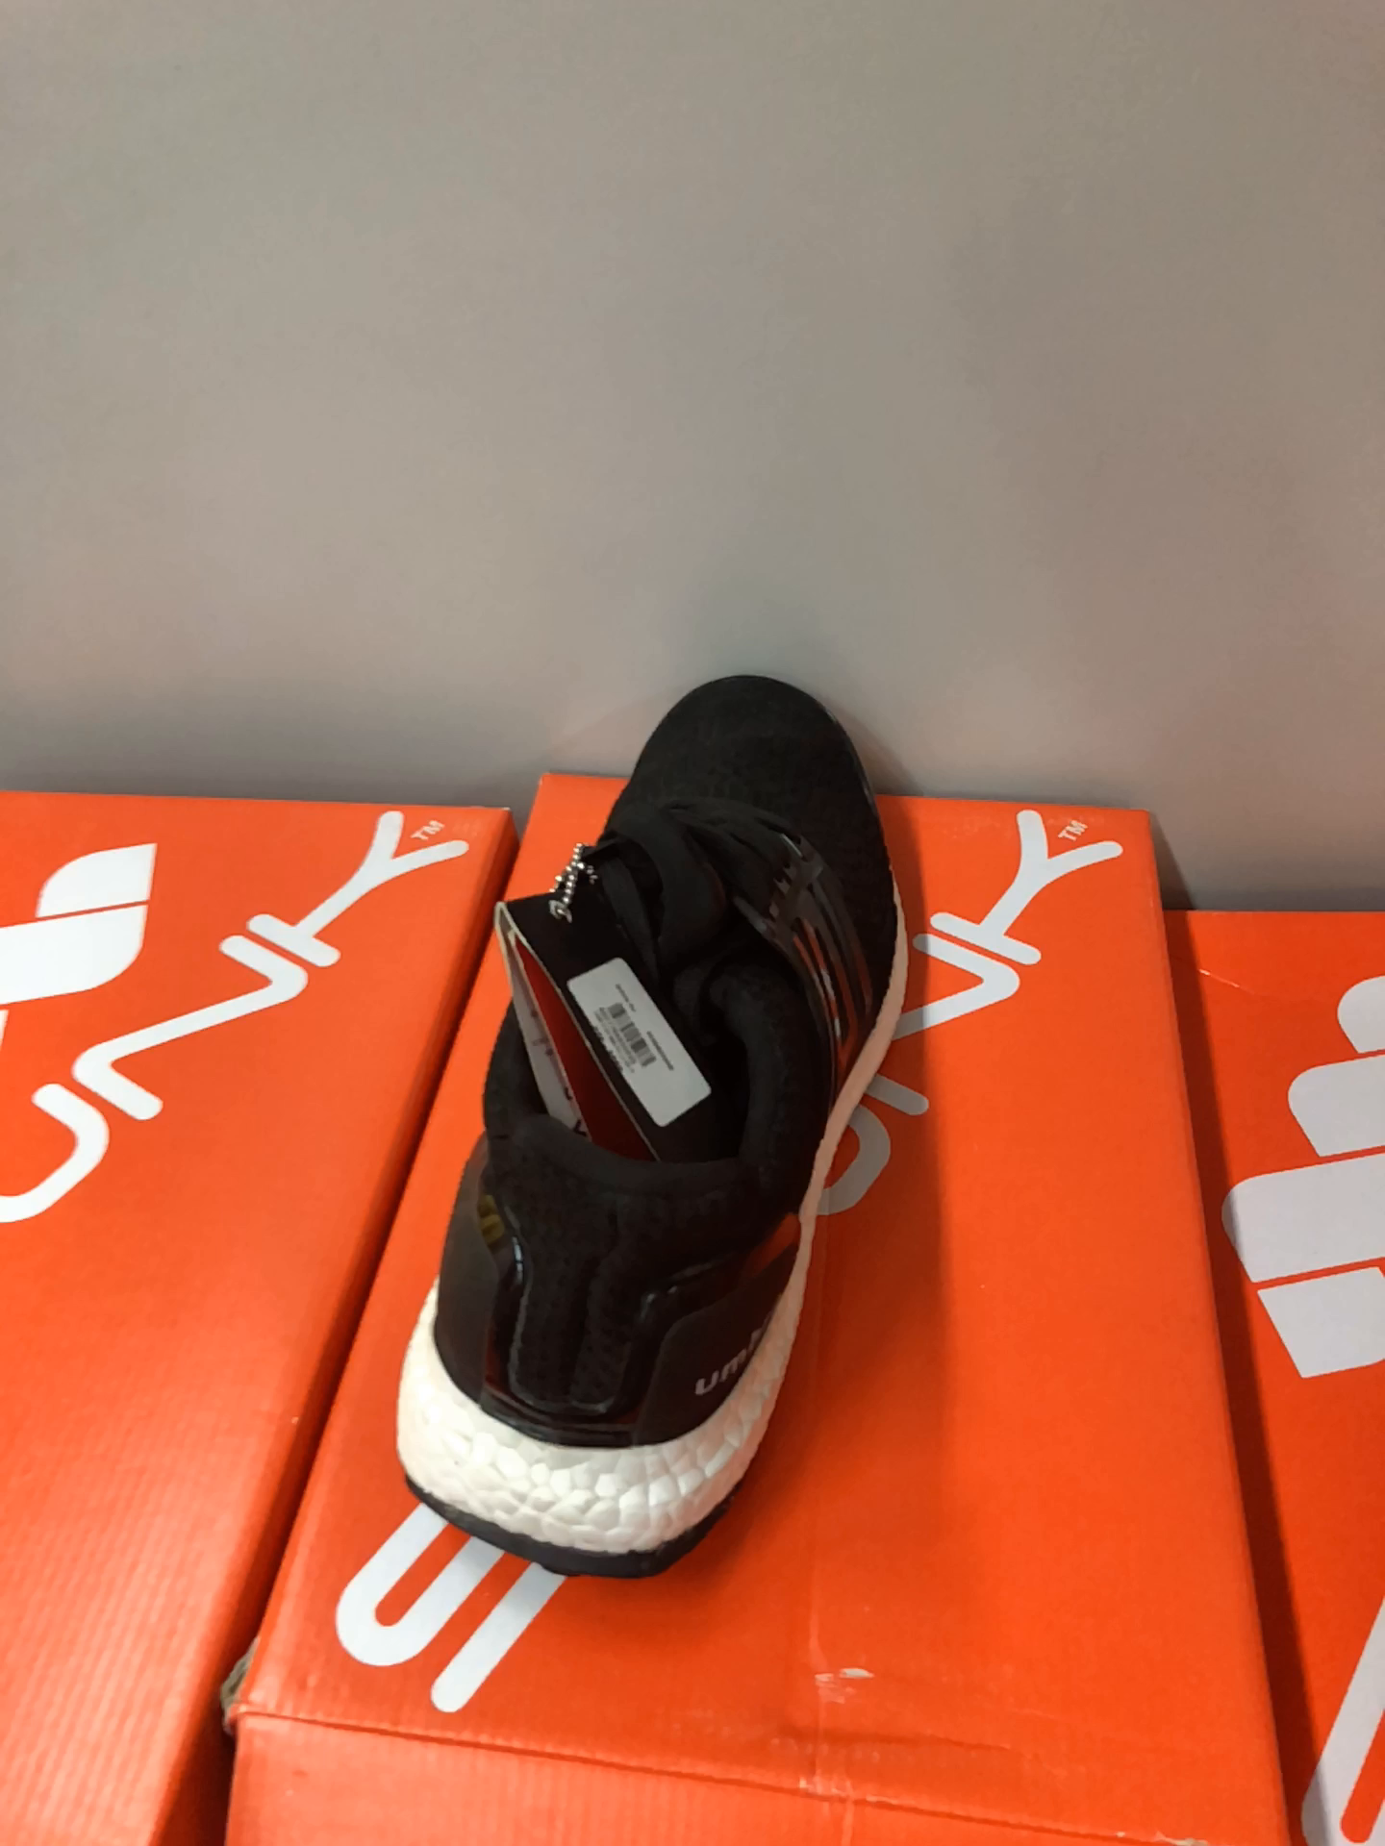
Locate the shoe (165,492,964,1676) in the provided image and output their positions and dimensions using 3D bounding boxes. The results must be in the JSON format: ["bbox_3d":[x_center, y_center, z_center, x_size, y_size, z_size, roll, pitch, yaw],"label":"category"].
[{"bbox_3d":[-0.007,0.018,0.411,0.117,0.120,0.291,9,46,9],"label":"shoe"}]
